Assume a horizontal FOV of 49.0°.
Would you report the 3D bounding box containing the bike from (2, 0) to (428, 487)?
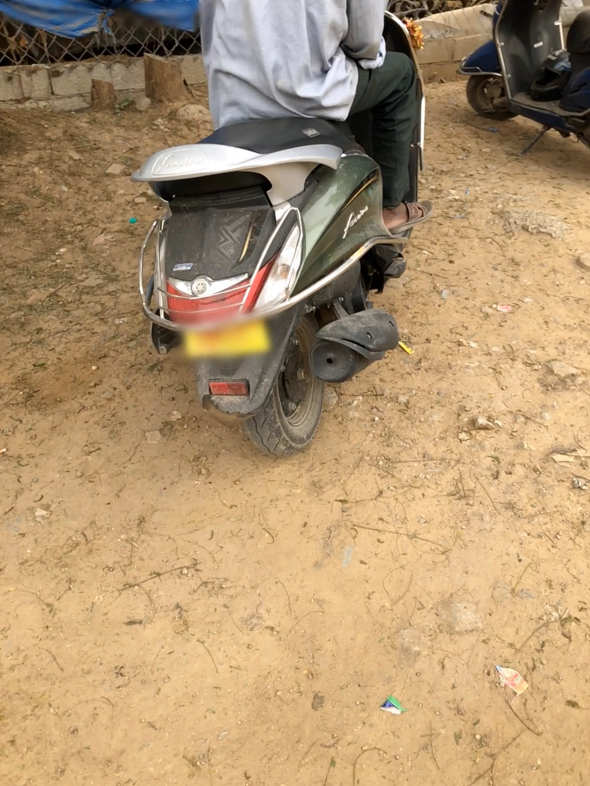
[{"bbox_3d":[-0.035,-0.811,2.029,0.622,1.054,1.732,9,39,12],"label":"bike"}]
